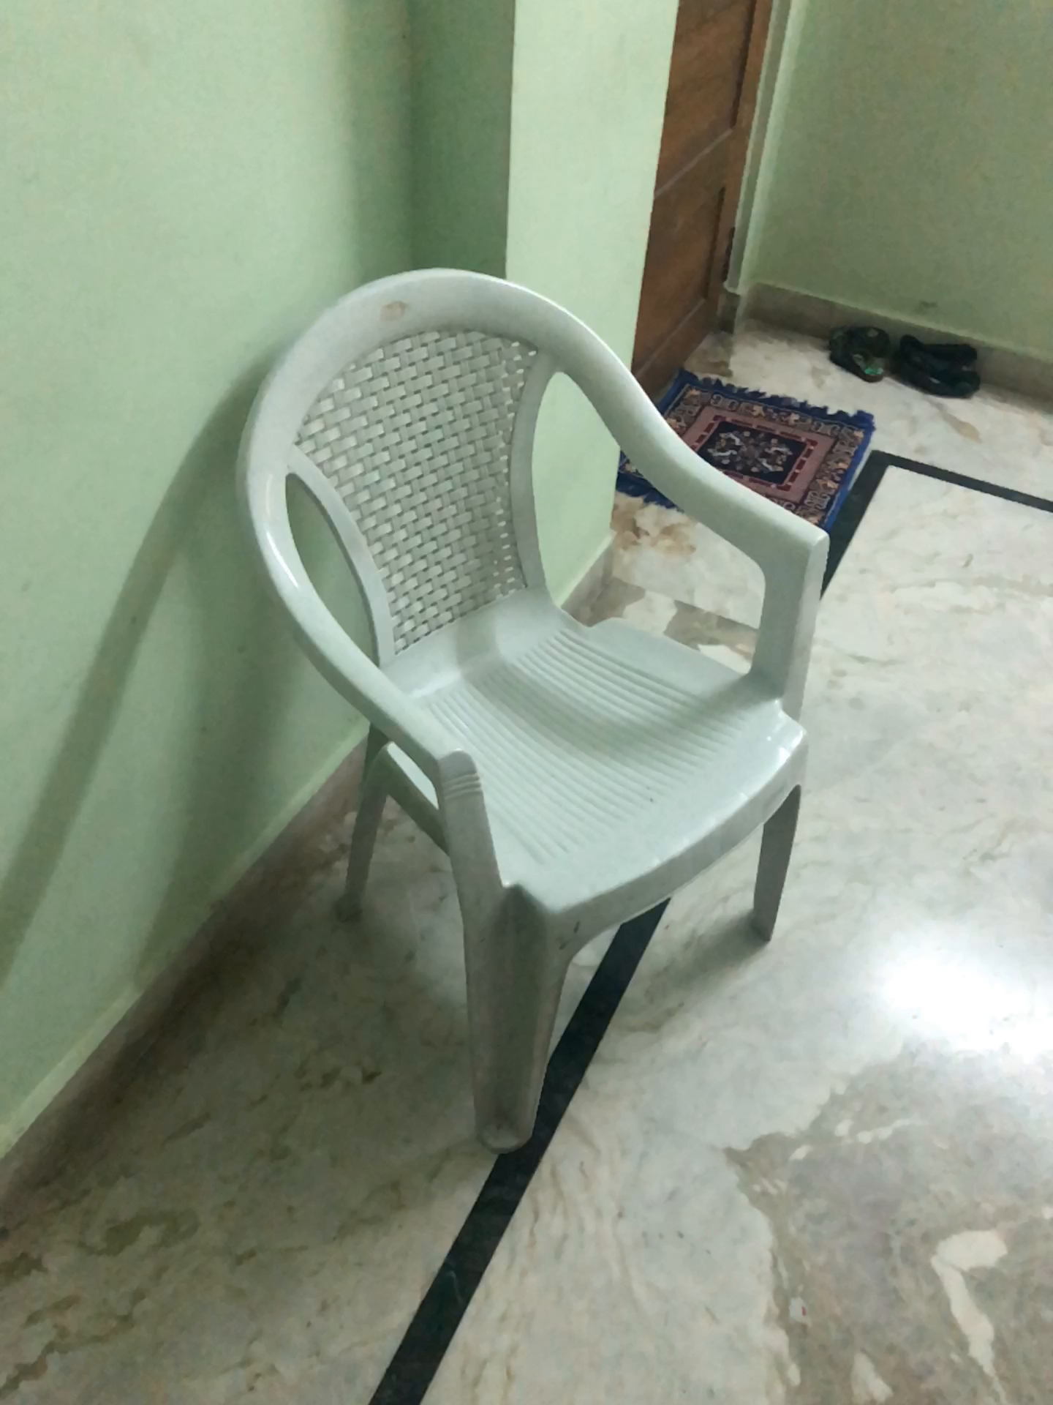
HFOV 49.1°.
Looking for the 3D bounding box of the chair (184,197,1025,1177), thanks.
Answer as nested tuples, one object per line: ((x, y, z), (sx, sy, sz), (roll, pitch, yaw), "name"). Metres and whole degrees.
((0.043, -0.012, 1.309), (0.532, 0.825, 0.532), (-28, 52, -29), "chair")
